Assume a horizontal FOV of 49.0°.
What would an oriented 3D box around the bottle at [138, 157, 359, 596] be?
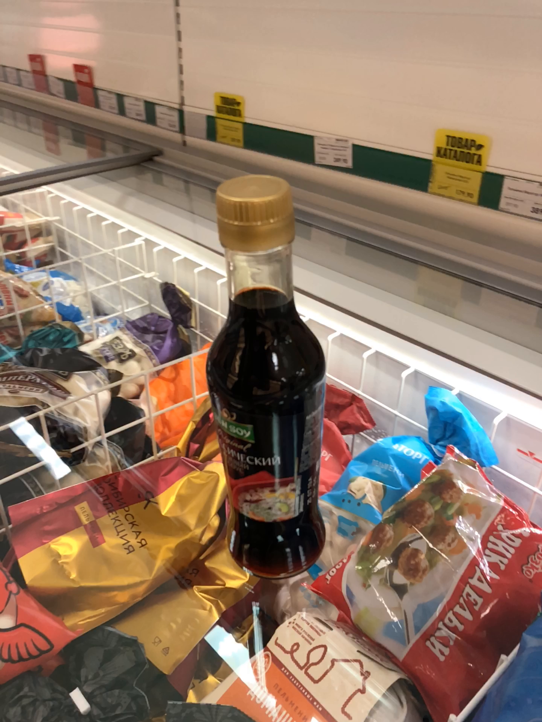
[{"bbox_3d":[-0.004,0.015,0.273,0.058,0.192,0.060,-1,36,1],"label":"bottle"}]
